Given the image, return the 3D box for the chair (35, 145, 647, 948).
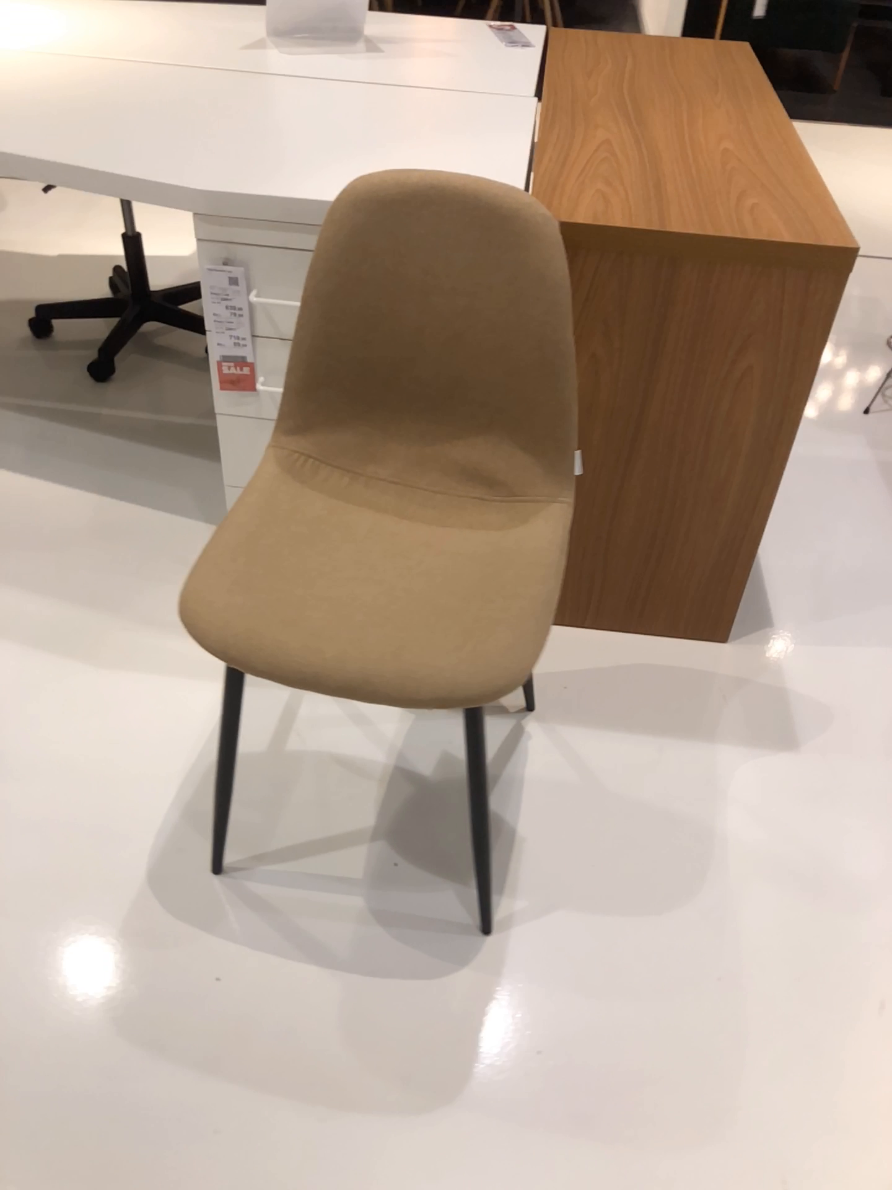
[{"bbox_3d":[-0.073,-0.051,1.237,0.480,0.784,0.524,10,41,8],"label":"chair"}]
